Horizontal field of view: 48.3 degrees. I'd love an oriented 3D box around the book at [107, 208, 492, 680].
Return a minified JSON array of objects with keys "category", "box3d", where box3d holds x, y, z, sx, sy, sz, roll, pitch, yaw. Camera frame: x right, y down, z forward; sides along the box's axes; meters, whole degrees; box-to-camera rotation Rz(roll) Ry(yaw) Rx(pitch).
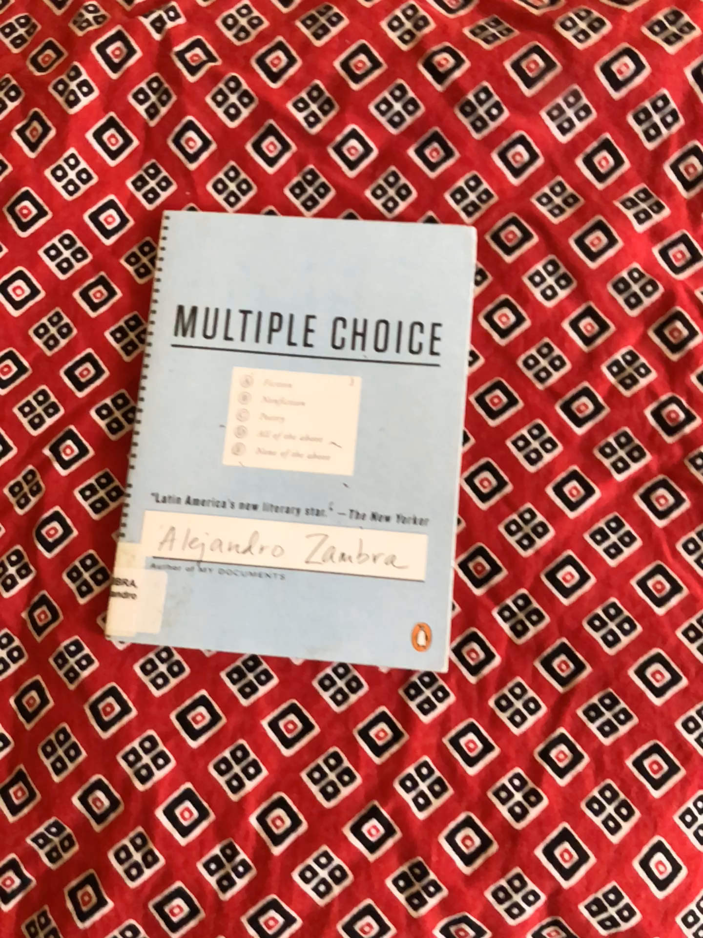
[{"category":"book","box3d":[-0.017,-0.013,0.313,0.133,0.020,0.176,4,81,2]}]
